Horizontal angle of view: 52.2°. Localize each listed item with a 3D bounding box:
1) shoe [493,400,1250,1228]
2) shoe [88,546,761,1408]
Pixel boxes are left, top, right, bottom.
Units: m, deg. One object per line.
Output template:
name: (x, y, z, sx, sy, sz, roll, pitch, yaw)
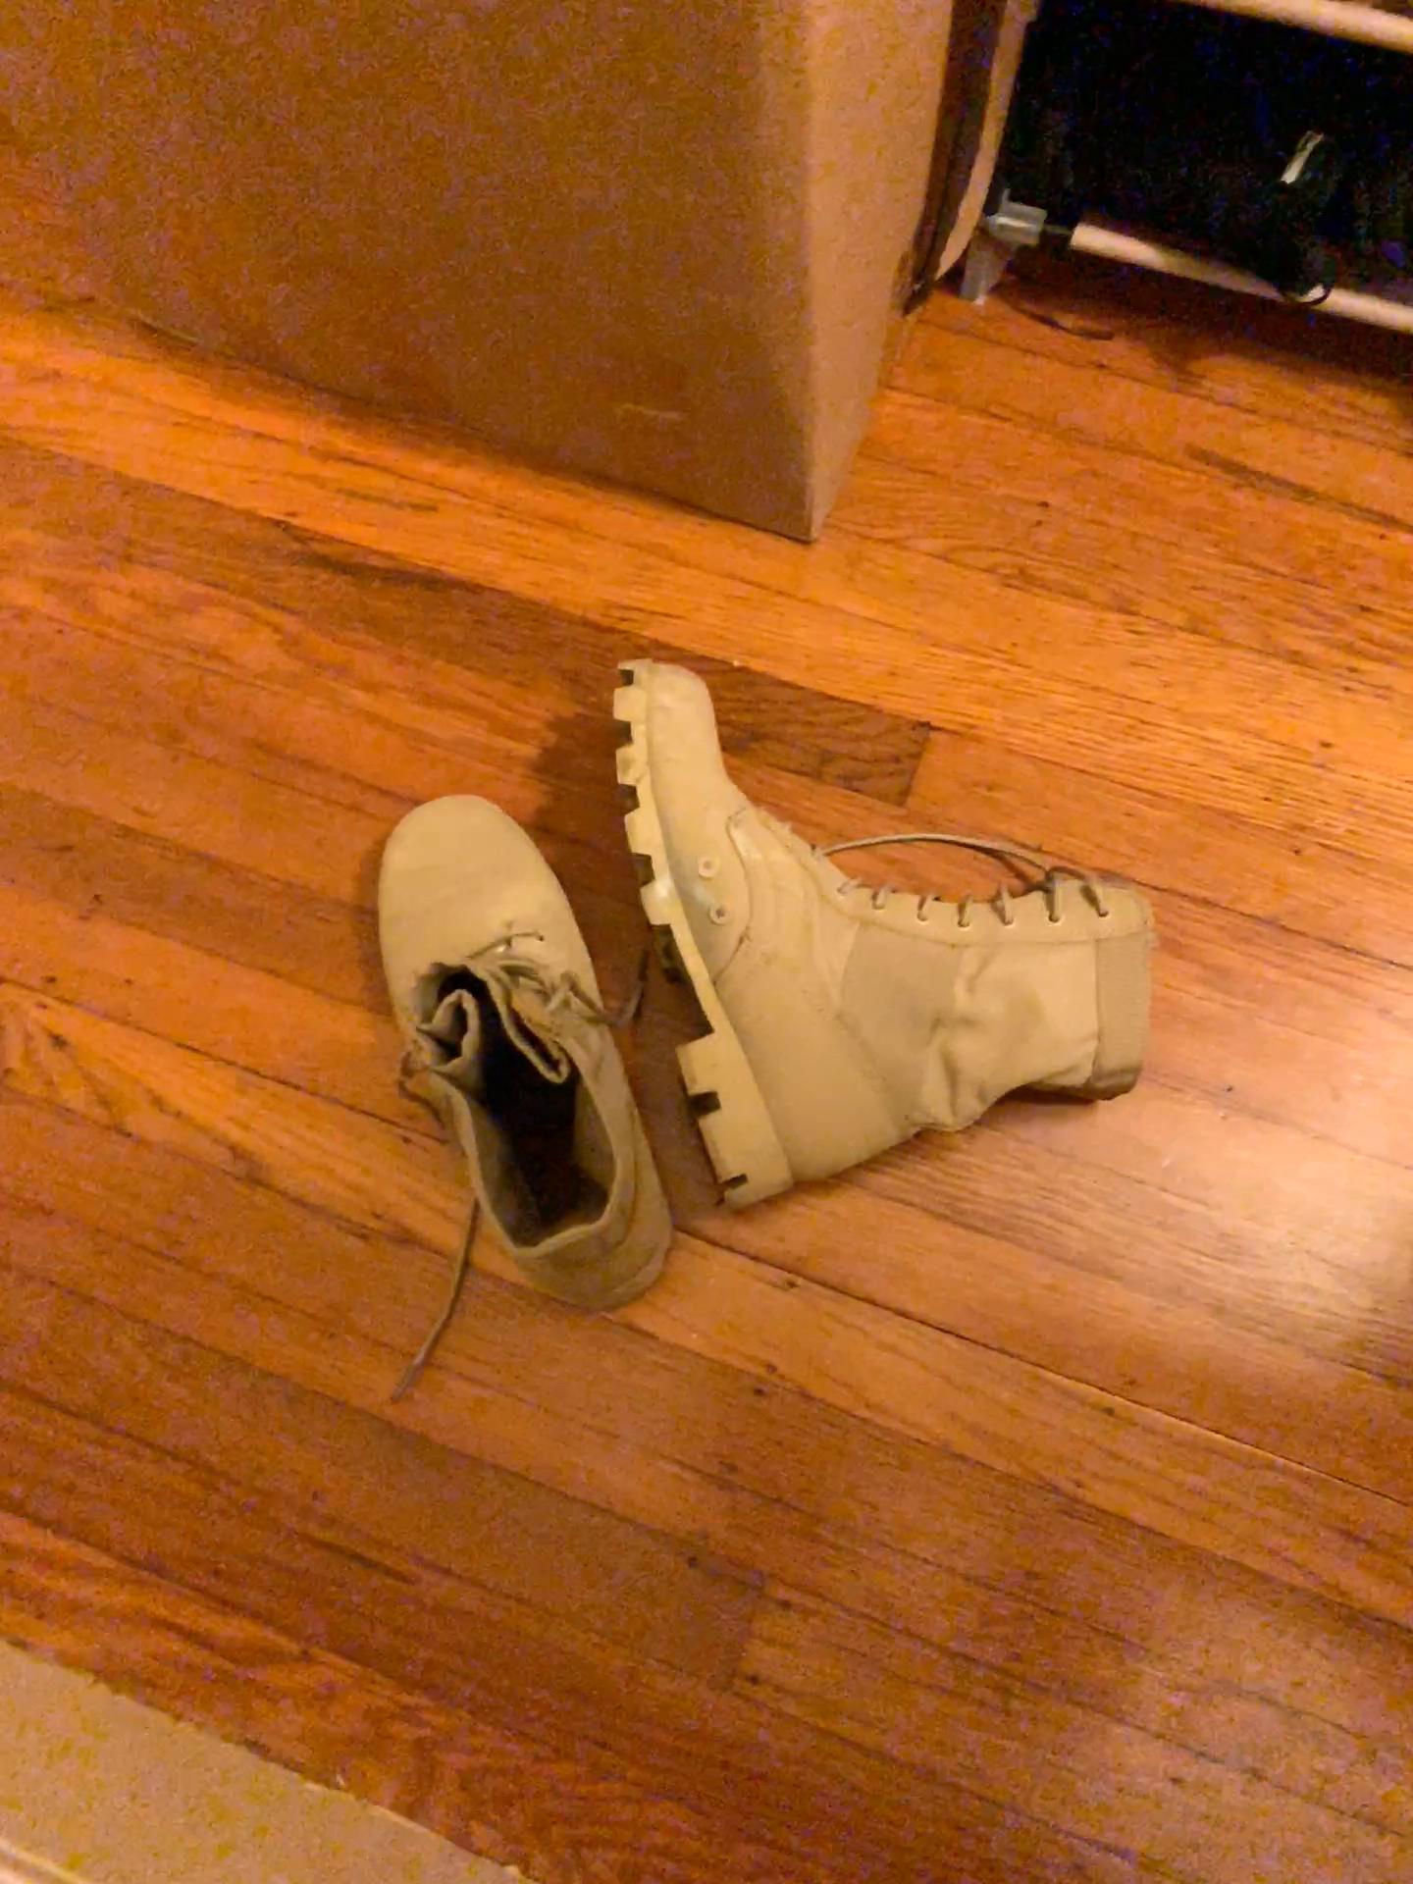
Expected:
shoe: (0.067, -0.054, 0.686, 0.250, 0.120, 0.310, -17, 73, 6)
shoe: (-0.114, 0.028, 0.652, 0.190, 0.200, 0.300, -18, 73, -3)
